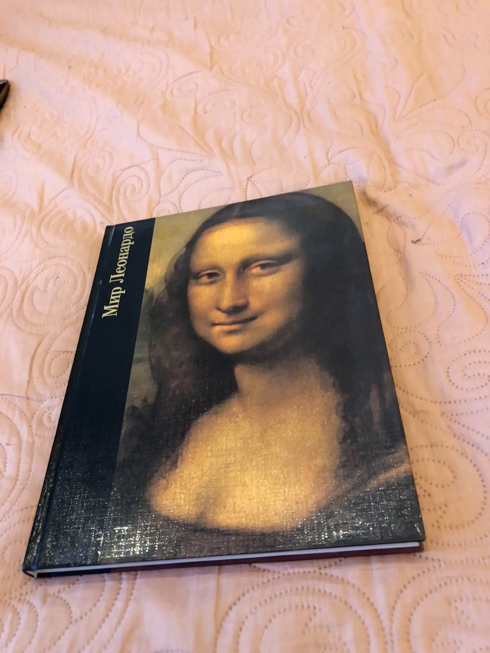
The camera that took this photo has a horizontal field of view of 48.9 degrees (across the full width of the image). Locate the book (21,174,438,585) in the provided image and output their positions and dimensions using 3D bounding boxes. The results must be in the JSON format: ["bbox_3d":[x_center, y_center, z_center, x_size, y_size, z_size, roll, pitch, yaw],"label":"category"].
[{"bbox_3d":[-0.013,0.014,0.360,0.210,0.030,0.274,-8,52,9],"label":"book"}]
